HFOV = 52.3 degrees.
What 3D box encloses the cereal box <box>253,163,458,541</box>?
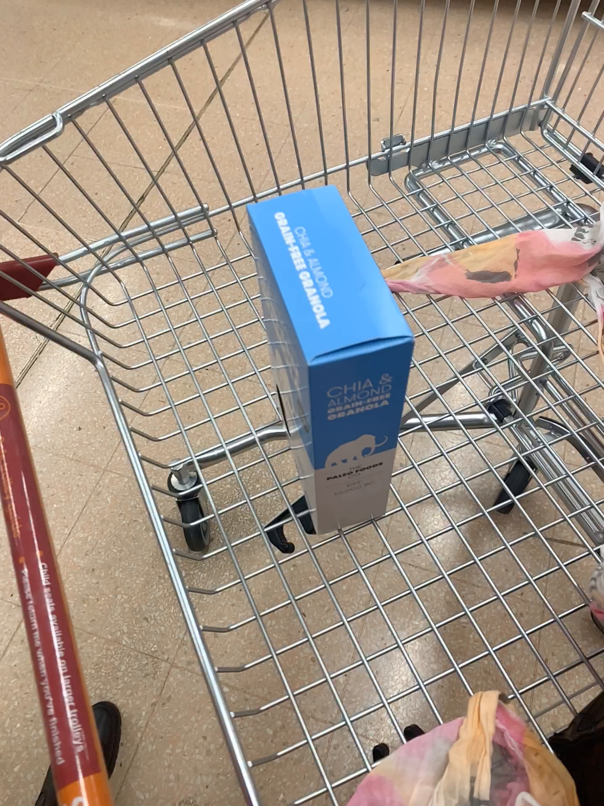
[{"bbox_3d":[0.026,-0.019,0.403,0.060,0.209,0.141,-16,58,-7],"label":"cereal box"}]
